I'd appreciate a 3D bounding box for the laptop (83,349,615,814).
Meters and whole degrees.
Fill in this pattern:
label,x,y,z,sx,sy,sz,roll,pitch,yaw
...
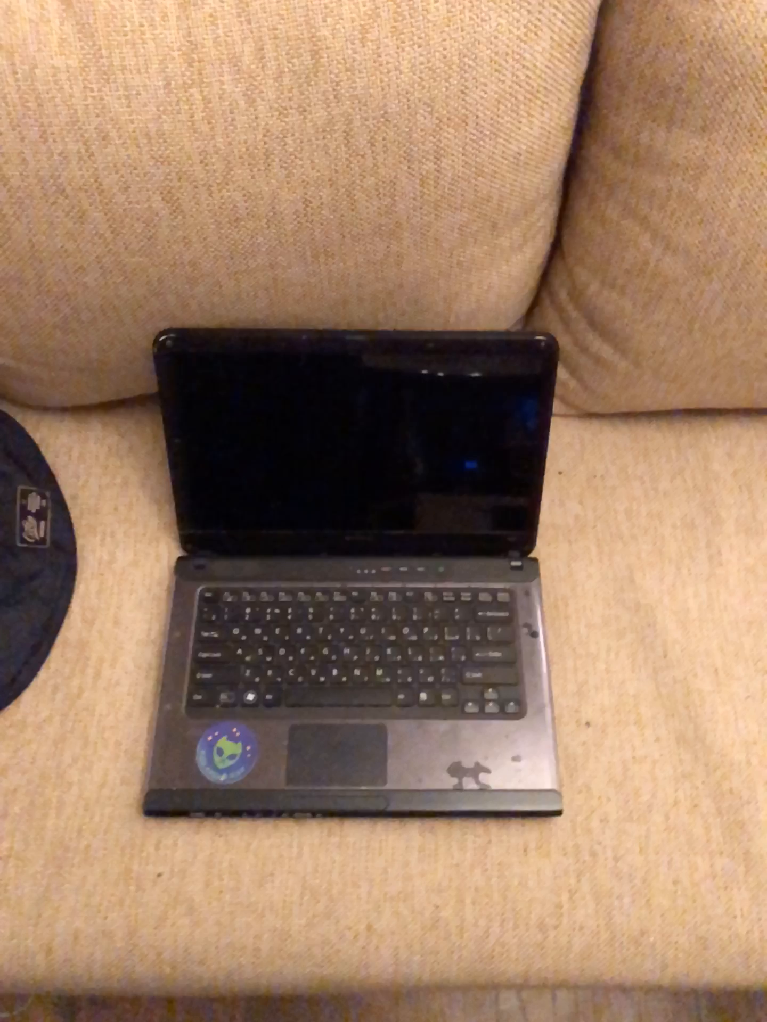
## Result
label,x,y,z,sx,sy,sz,roll,pitch,yaw
laptop,-0.024,0.056,0.700,0.338,0.175,0.350,0,62,-1
